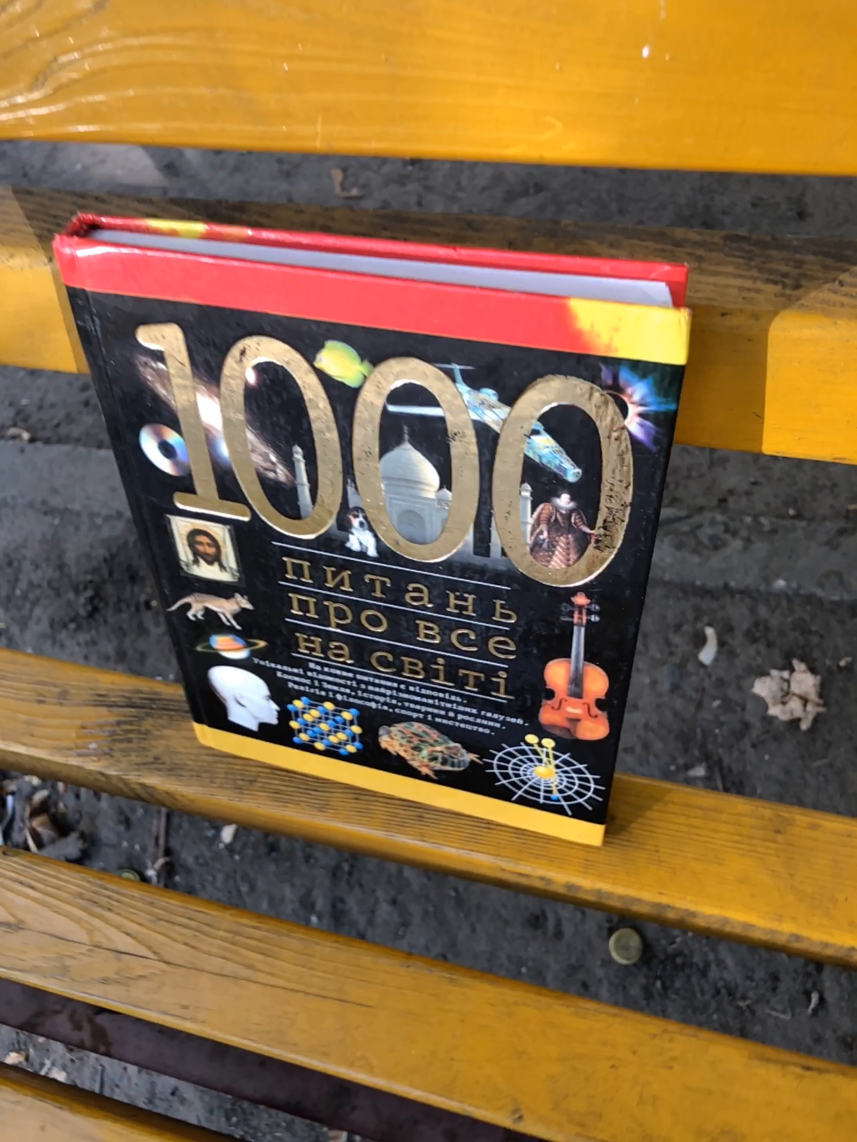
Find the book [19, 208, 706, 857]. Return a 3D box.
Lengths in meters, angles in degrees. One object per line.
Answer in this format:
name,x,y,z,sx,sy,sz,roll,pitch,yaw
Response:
book,-0.017,-0.001,0.303,0.172,0.201,0.032,11,42,15
